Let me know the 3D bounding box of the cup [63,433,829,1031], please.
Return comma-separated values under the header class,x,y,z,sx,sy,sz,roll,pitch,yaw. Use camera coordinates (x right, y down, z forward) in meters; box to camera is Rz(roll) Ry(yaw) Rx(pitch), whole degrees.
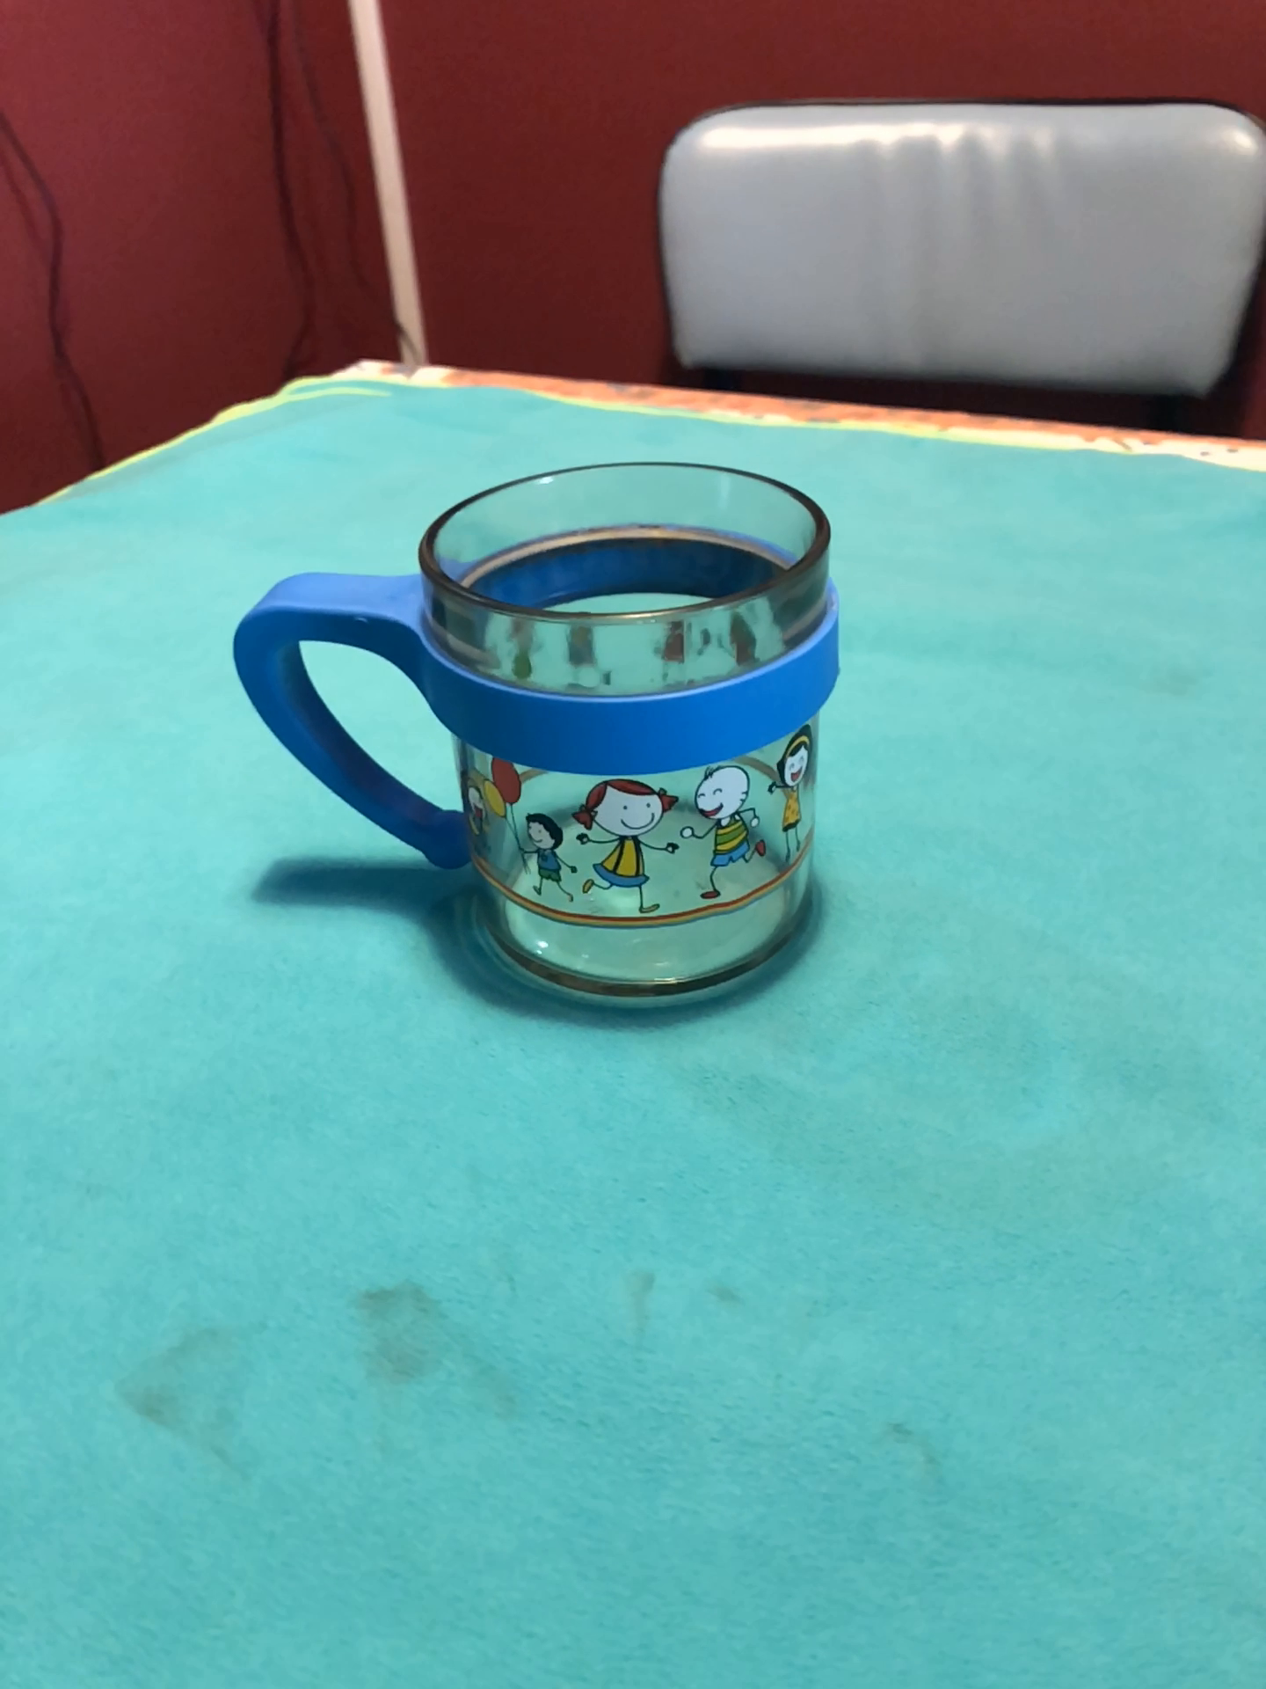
class,x,y,z,sx,sy,sz,roll,pitch,yaw
cup,-0.028,-0.029,0.302,0.130,0.089,0.091,3,34,11
